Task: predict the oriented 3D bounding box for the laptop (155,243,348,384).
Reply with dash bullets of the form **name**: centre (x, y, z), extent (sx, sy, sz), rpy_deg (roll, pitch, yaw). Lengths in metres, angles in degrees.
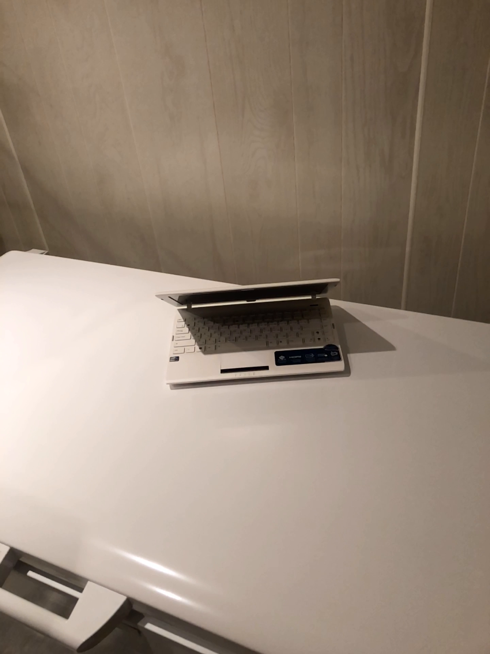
- **laptop**: centre (0.010, -0.028, 0.935), extent (0.298, 0.115, 0.199), rpy_deg (-5, 39, 2)
